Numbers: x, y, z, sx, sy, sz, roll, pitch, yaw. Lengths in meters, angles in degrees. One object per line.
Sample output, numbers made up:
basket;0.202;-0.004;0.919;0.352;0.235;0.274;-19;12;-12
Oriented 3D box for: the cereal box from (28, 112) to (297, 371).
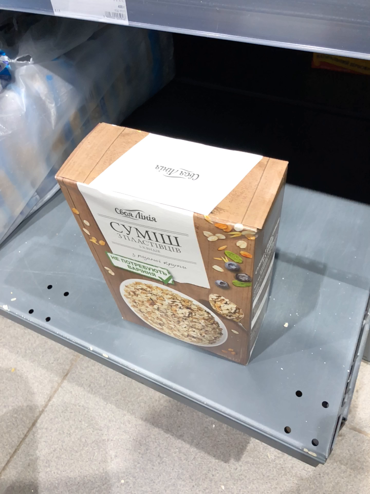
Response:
cereal box;-0.007;0.009;0.341;0.160;0.209;0.060;17;57;18
